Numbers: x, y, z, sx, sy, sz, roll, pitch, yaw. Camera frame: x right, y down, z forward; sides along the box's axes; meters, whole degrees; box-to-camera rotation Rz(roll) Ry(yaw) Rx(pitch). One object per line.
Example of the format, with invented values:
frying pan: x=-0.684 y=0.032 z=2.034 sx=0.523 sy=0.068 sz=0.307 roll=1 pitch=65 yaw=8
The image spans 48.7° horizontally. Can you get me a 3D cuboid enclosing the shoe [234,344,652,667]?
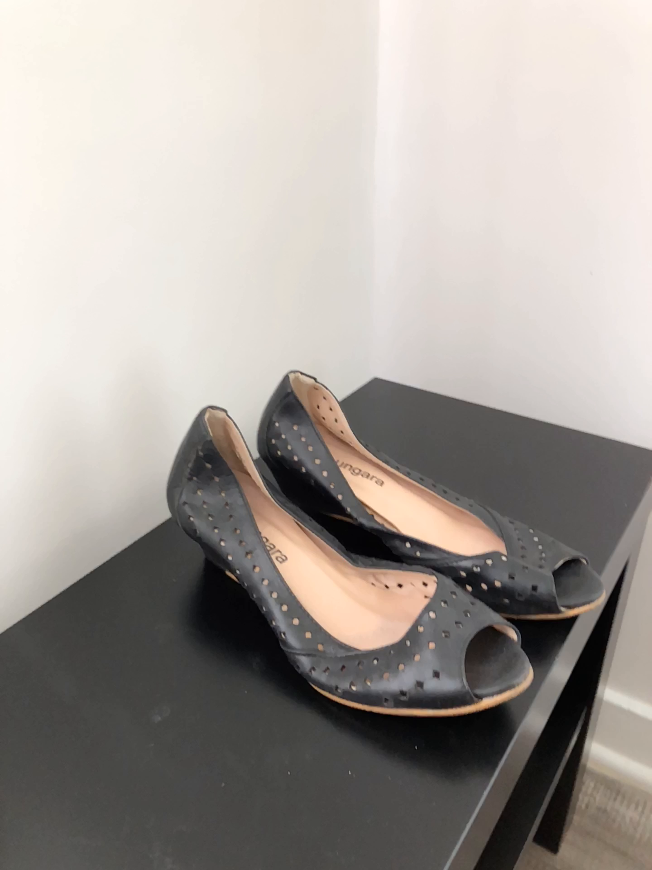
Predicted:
shoe: x=0.061 y=0.028 z=0.429 sx=0.221 sy=0.100 sz=0.085 roll=17 pitch=34 yaw=29

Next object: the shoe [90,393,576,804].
shoe: x=-0.006 y=0.067 z=0.377 sx=0.231 sy=0.100 sz=0.085 roll=19 pitch=34 yaw=31
